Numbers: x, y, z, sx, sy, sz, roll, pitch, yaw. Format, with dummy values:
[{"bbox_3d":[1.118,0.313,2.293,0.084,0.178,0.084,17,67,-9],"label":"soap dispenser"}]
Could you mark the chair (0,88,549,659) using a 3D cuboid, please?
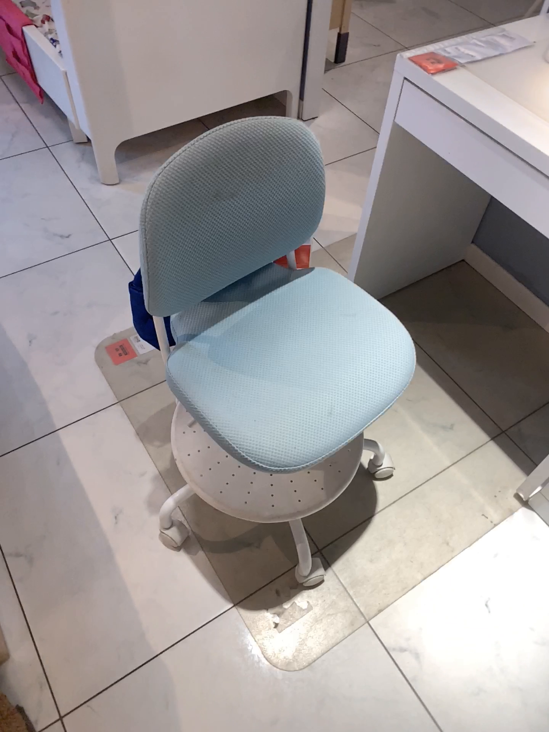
[{"bbox_3d":[-0.019,0.031,1.091,0.601,0.718,0.621,-34,62,-25],"label":"chair"}]
